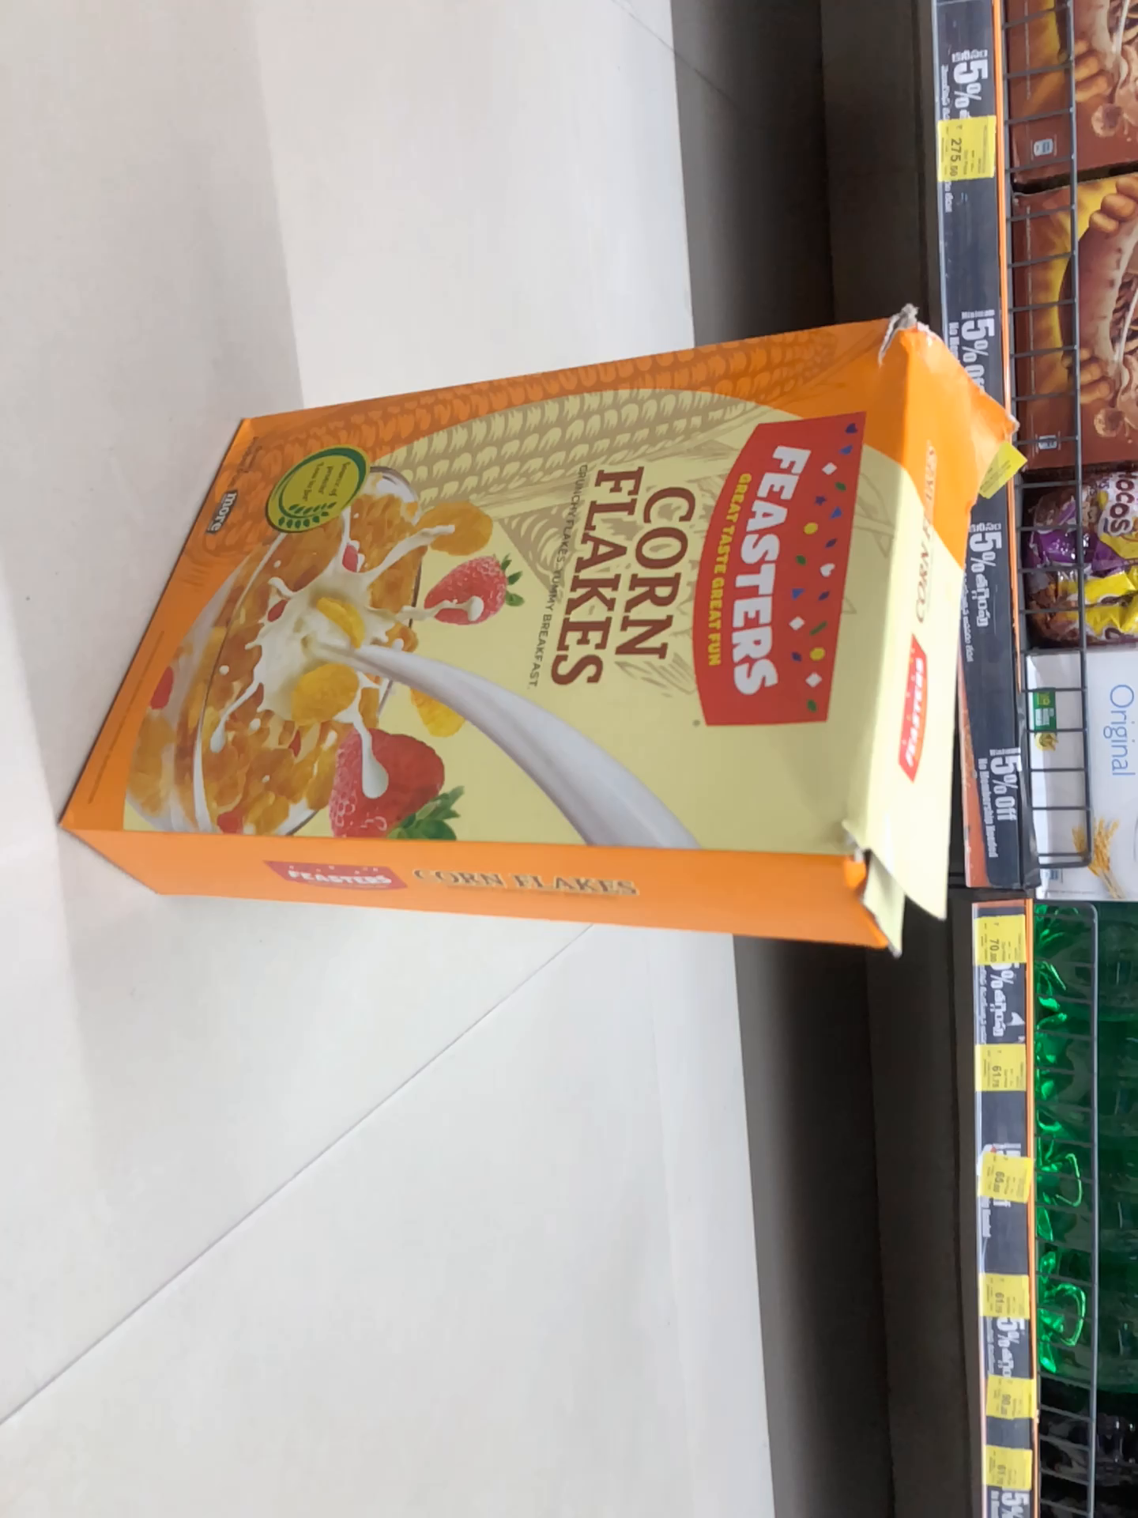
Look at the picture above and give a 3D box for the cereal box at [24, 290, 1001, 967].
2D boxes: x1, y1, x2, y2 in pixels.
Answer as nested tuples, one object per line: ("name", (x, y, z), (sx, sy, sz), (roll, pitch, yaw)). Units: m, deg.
("cereal box", (-0.009, -0.042, 0.395), (0.060, 0.268, 0.190), (60, 36, -51))
